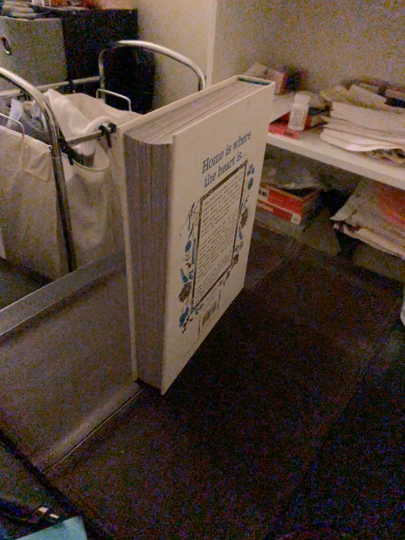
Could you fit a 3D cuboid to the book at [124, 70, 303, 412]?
[{"bbox_3d":[0.014,-0.032,0.410,0.050,0.268,0.211,21,38,21],"label":"book"}]
